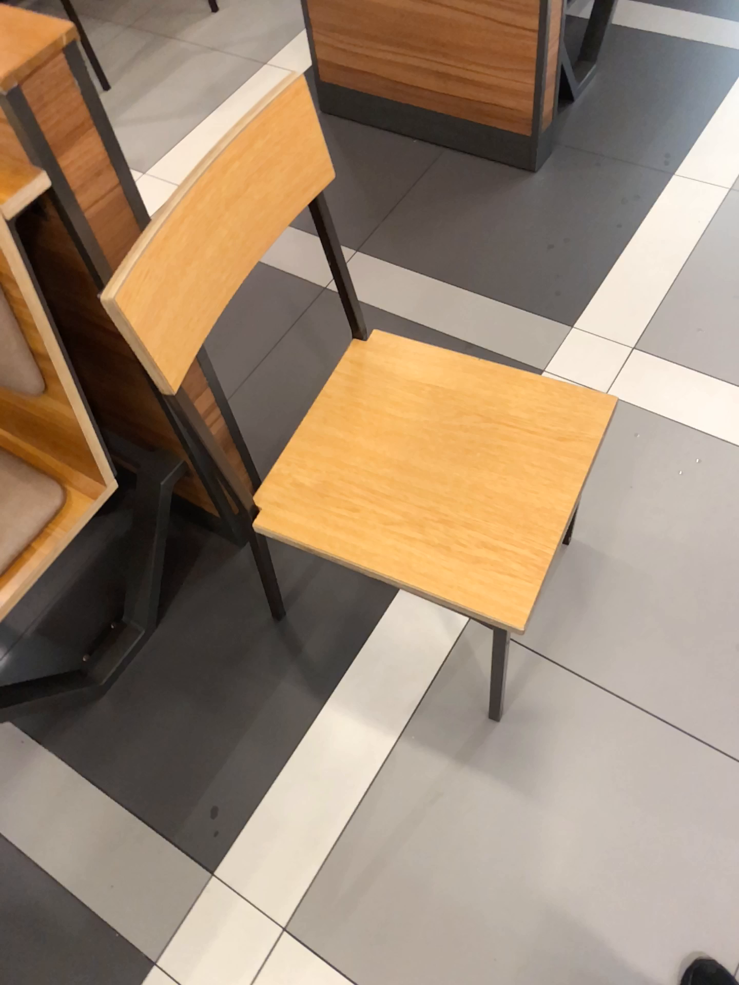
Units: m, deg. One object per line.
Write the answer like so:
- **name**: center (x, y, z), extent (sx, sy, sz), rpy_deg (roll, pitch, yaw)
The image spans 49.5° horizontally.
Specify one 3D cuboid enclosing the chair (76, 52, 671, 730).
- **chair**: center (0.060, -0.068, 1.158), extent (0.460, 0.846, 0.432), rpy_deg (19, 62, 18)
